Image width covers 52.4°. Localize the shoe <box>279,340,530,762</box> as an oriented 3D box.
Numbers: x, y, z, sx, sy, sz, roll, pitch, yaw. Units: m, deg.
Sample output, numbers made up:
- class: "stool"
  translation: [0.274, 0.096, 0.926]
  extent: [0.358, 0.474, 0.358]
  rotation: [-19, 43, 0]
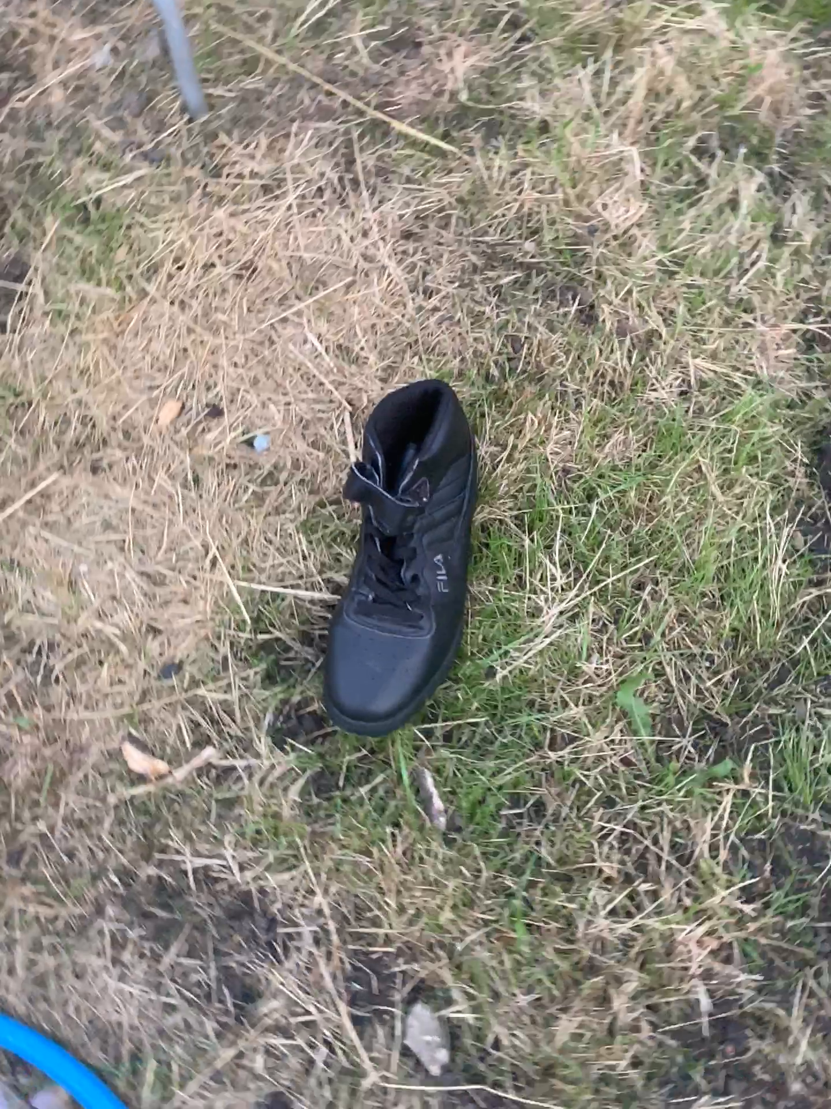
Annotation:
- class: "shoe"
  translation: [-0.001, -0.002, 0.625]
  extent: [0.110, 0.119, 0.271]
  rotation: [12, 69, 4]
